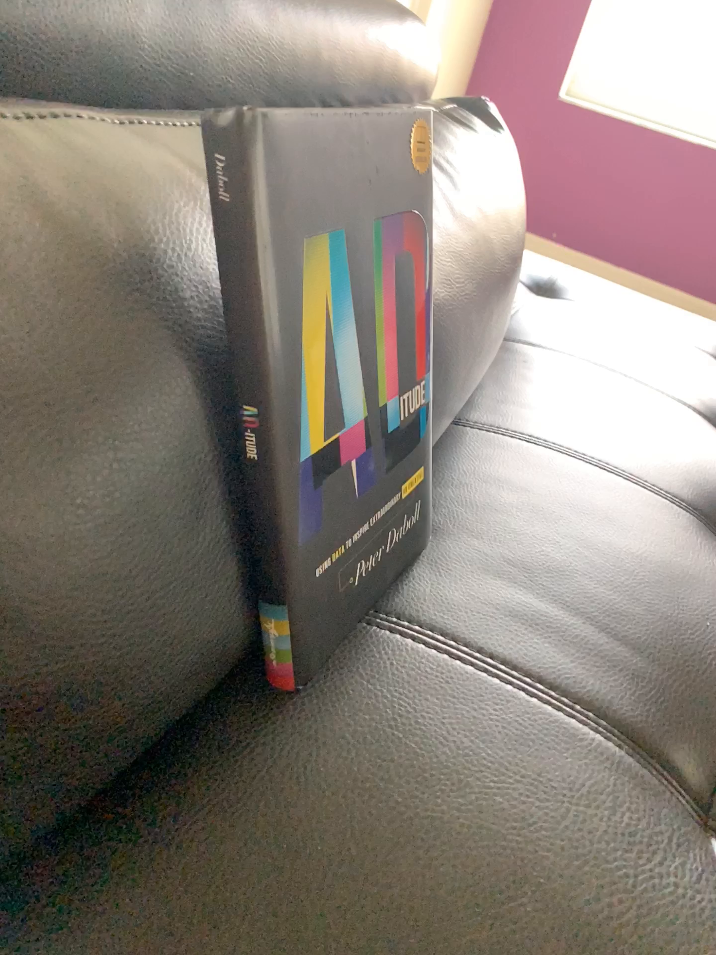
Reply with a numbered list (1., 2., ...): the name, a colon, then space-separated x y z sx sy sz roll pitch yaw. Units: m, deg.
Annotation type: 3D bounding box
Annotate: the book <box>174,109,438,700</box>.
1. book: -0.005 -0.042 0.348 0.025 0.235 0.162 10 28 27
